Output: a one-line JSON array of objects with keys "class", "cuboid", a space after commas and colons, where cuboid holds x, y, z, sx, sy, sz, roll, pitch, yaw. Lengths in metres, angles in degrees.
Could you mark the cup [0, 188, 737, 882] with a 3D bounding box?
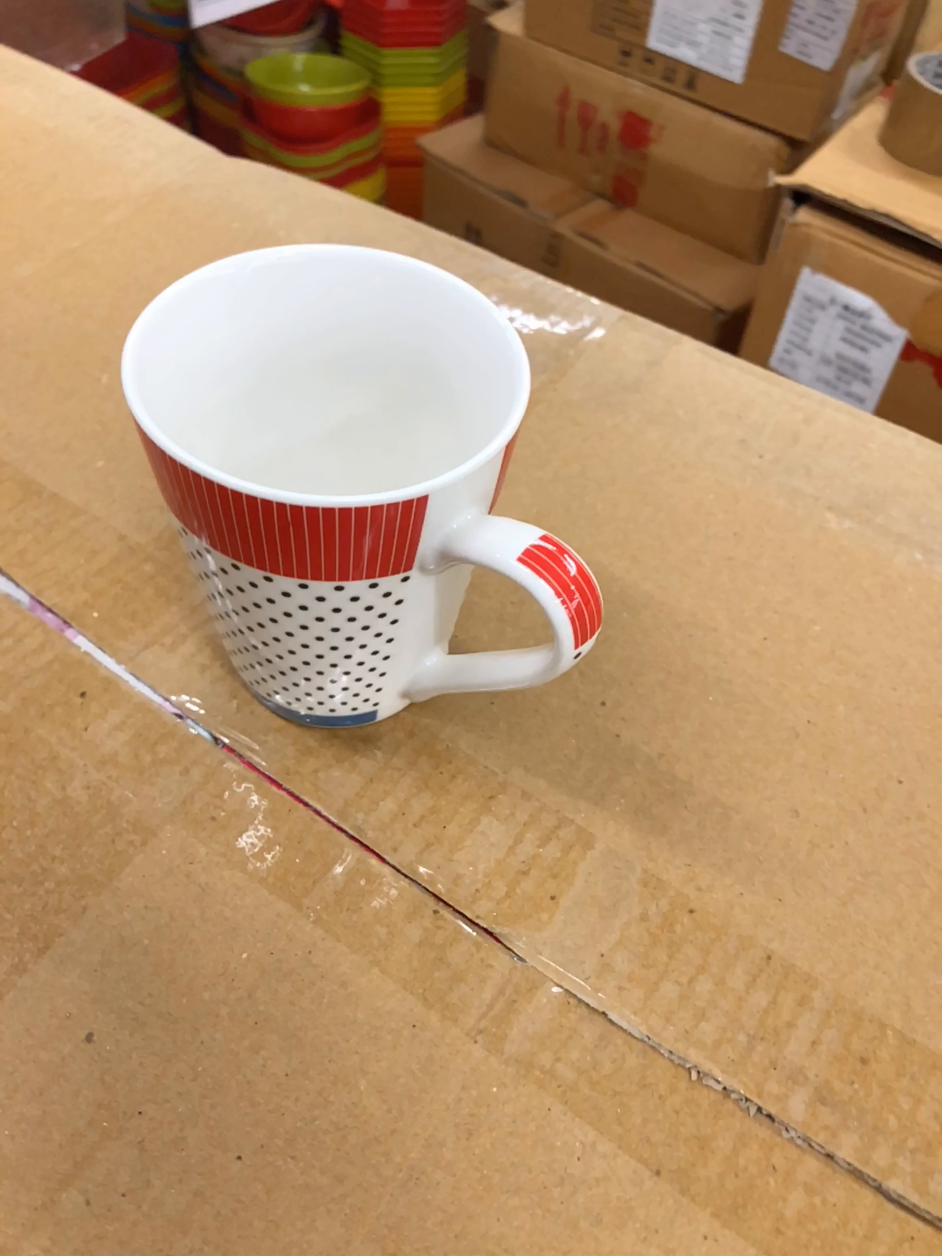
[{"class": "cup", "cuboid": [-0.020, -0.025, 0.249, 0.120, 0.089, 0.091, 26, 53, 17]}]
